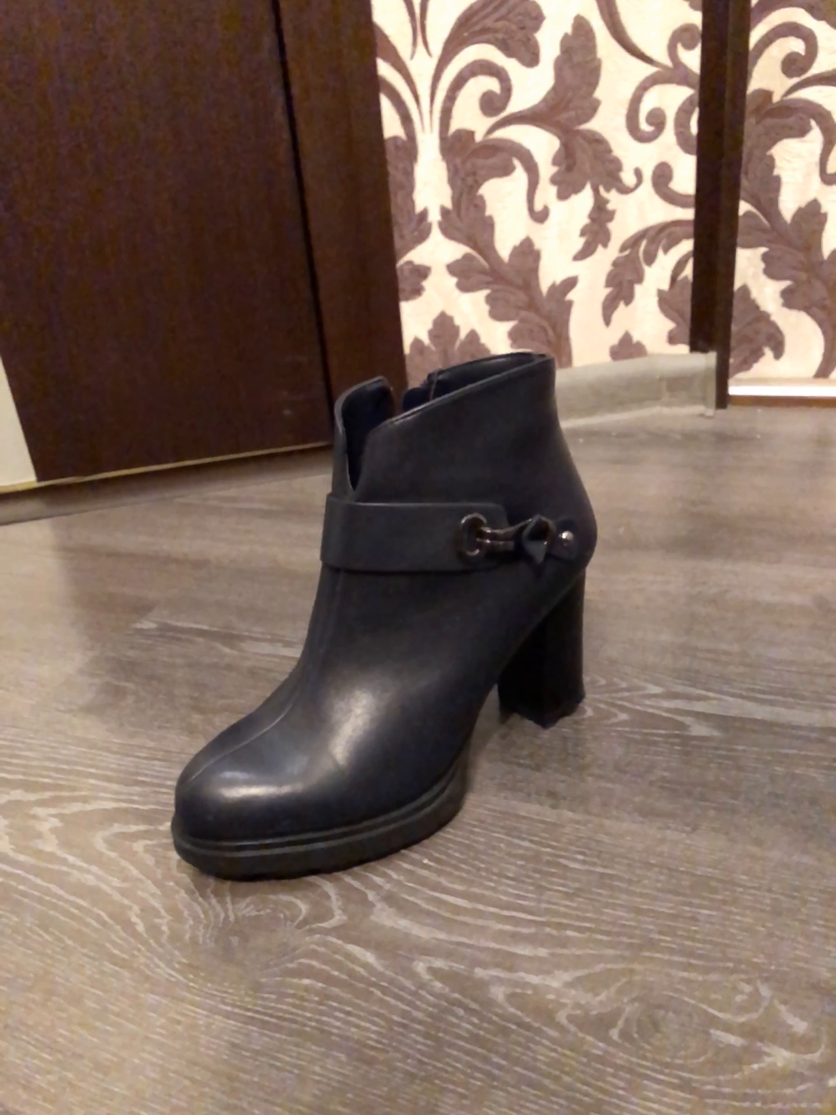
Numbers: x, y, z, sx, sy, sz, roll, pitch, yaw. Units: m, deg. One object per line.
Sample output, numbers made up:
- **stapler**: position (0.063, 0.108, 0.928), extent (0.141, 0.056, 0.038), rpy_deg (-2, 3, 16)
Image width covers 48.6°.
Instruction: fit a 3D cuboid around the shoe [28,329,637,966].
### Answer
- **shoe**: position (-0.020, 0.021, 0.424), extent (0.231, 0.189, 0.110), rpy_deg (-23, 31, -31)
